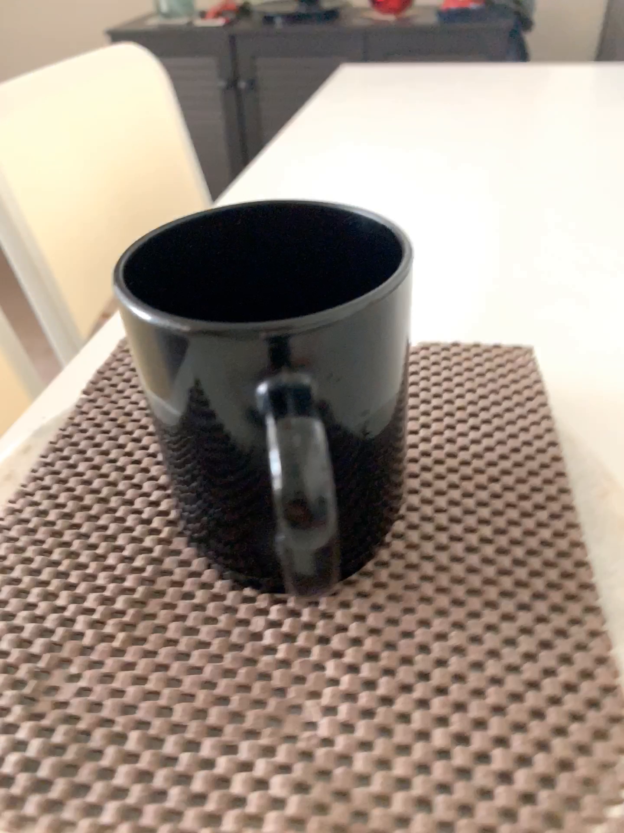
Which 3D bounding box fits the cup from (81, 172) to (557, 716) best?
[{"bbox_3d":[-0.005,-0.002,0.166,0.076,0.080,0.101,-10,37,-7],"label":"cup"}]
